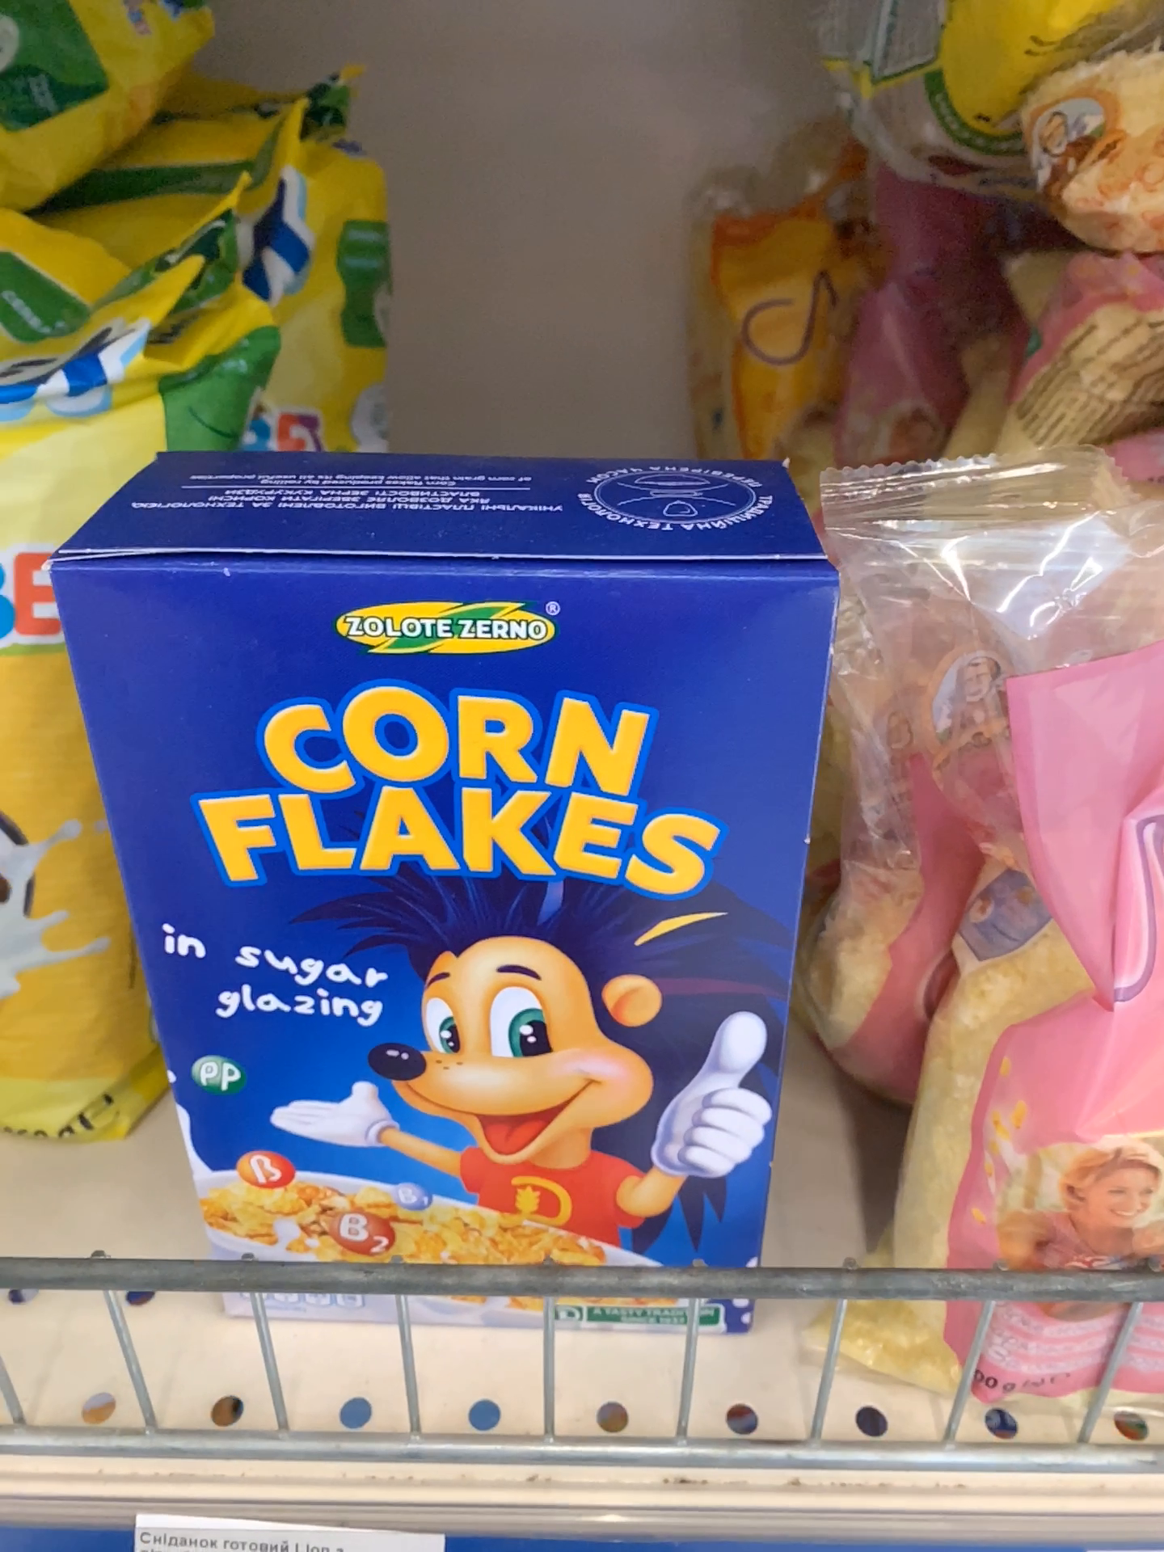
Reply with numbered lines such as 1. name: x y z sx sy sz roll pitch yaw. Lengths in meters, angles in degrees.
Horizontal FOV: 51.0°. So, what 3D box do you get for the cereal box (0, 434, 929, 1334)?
1. cereal box: -0.021 0.026 0.217 0.130 0.159 0.050 1 32 1
